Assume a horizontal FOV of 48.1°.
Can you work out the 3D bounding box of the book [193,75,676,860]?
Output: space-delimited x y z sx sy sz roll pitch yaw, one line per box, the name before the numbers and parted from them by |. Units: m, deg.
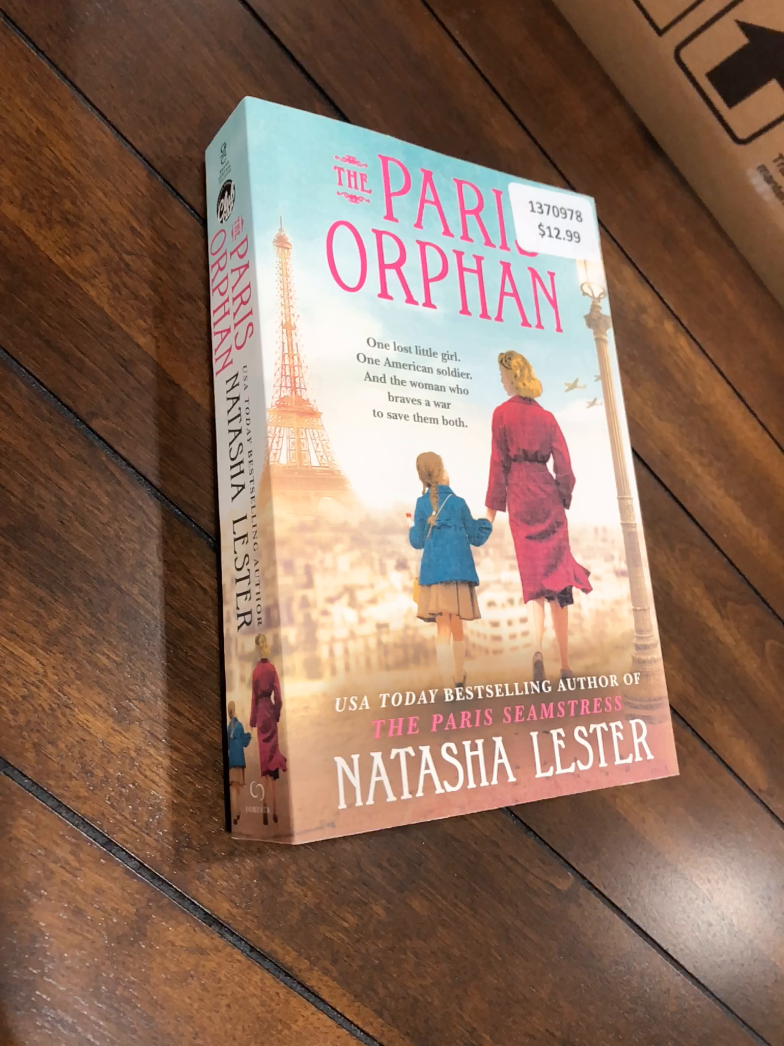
book | 0.013 -0.015 0.264 0.135 0.035 0.198 3 77 -31
